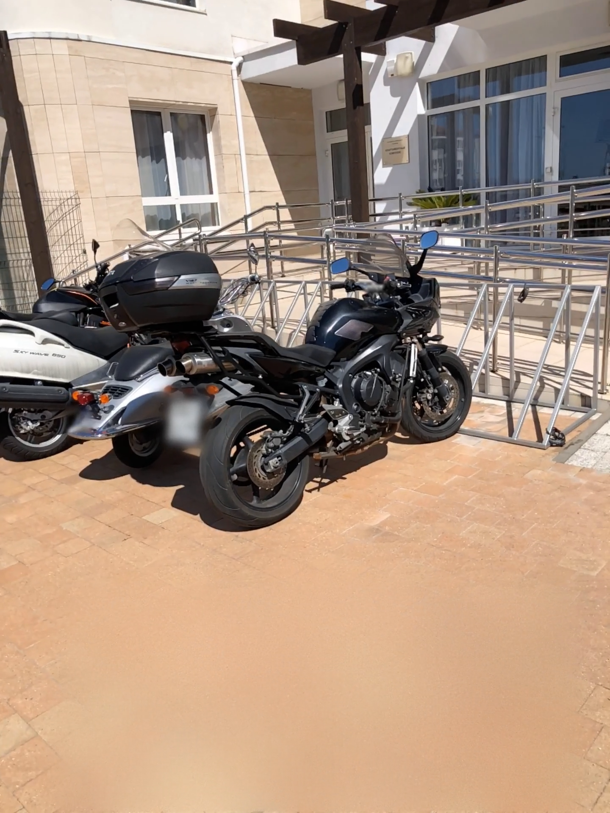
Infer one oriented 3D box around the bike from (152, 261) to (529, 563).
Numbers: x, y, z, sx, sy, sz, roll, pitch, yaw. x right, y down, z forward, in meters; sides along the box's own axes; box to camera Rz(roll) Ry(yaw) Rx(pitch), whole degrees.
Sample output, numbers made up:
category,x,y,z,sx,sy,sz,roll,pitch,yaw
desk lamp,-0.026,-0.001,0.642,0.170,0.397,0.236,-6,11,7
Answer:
category,x,y,z,sx,sy,sz,roll,pitch,yaw
bike,0.342,-0.113,3.396,0.606,1.003,1.922,10,22,44
